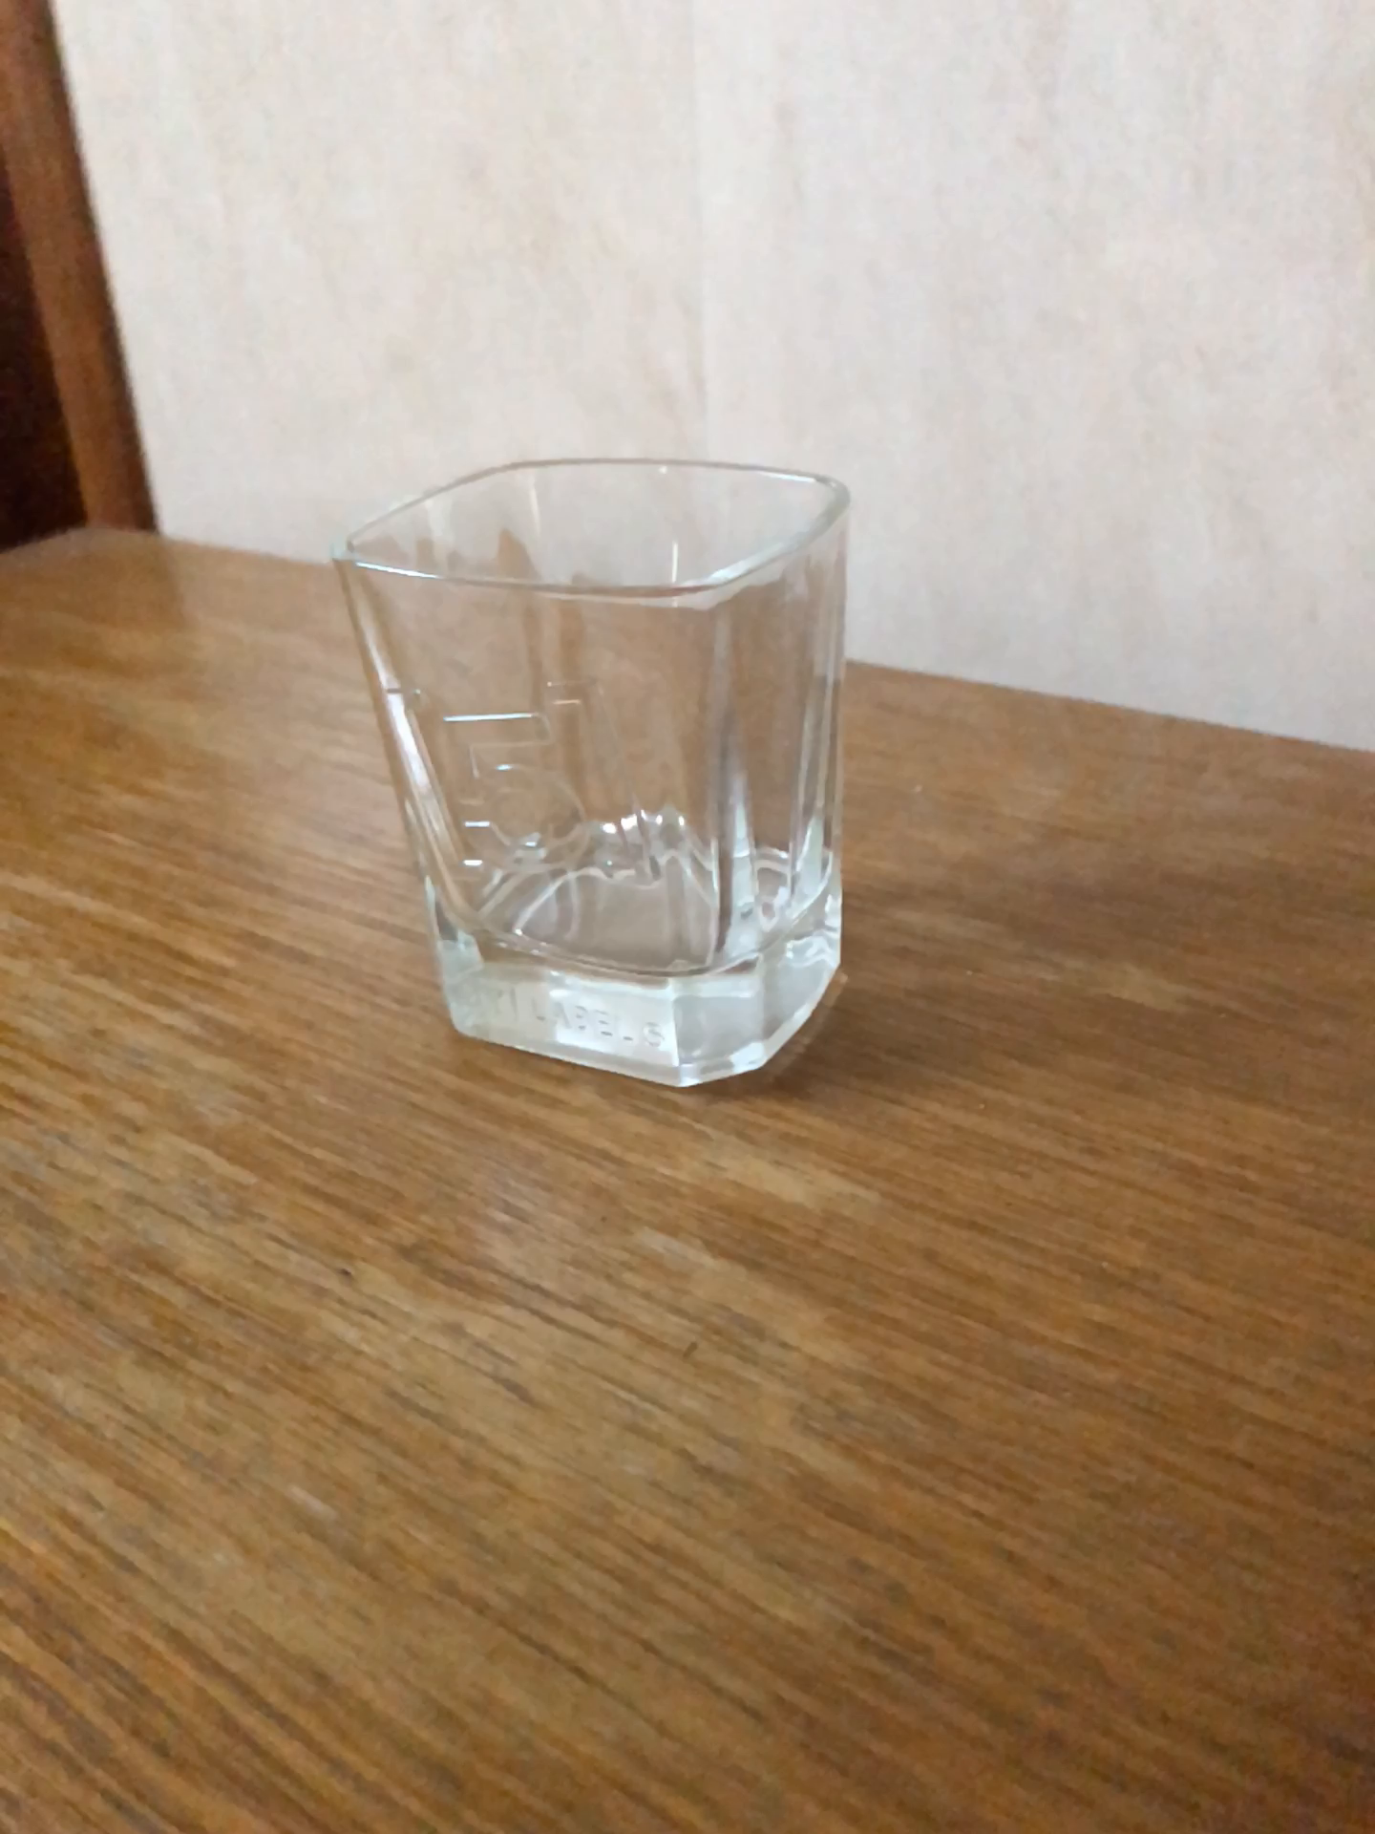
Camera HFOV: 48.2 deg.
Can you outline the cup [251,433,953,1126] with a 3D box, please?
[{"bbox_3d":[-0.007,-0.026,0.226,0.070,0.070,0.070,-2,29,1],"label":"cup"}]
